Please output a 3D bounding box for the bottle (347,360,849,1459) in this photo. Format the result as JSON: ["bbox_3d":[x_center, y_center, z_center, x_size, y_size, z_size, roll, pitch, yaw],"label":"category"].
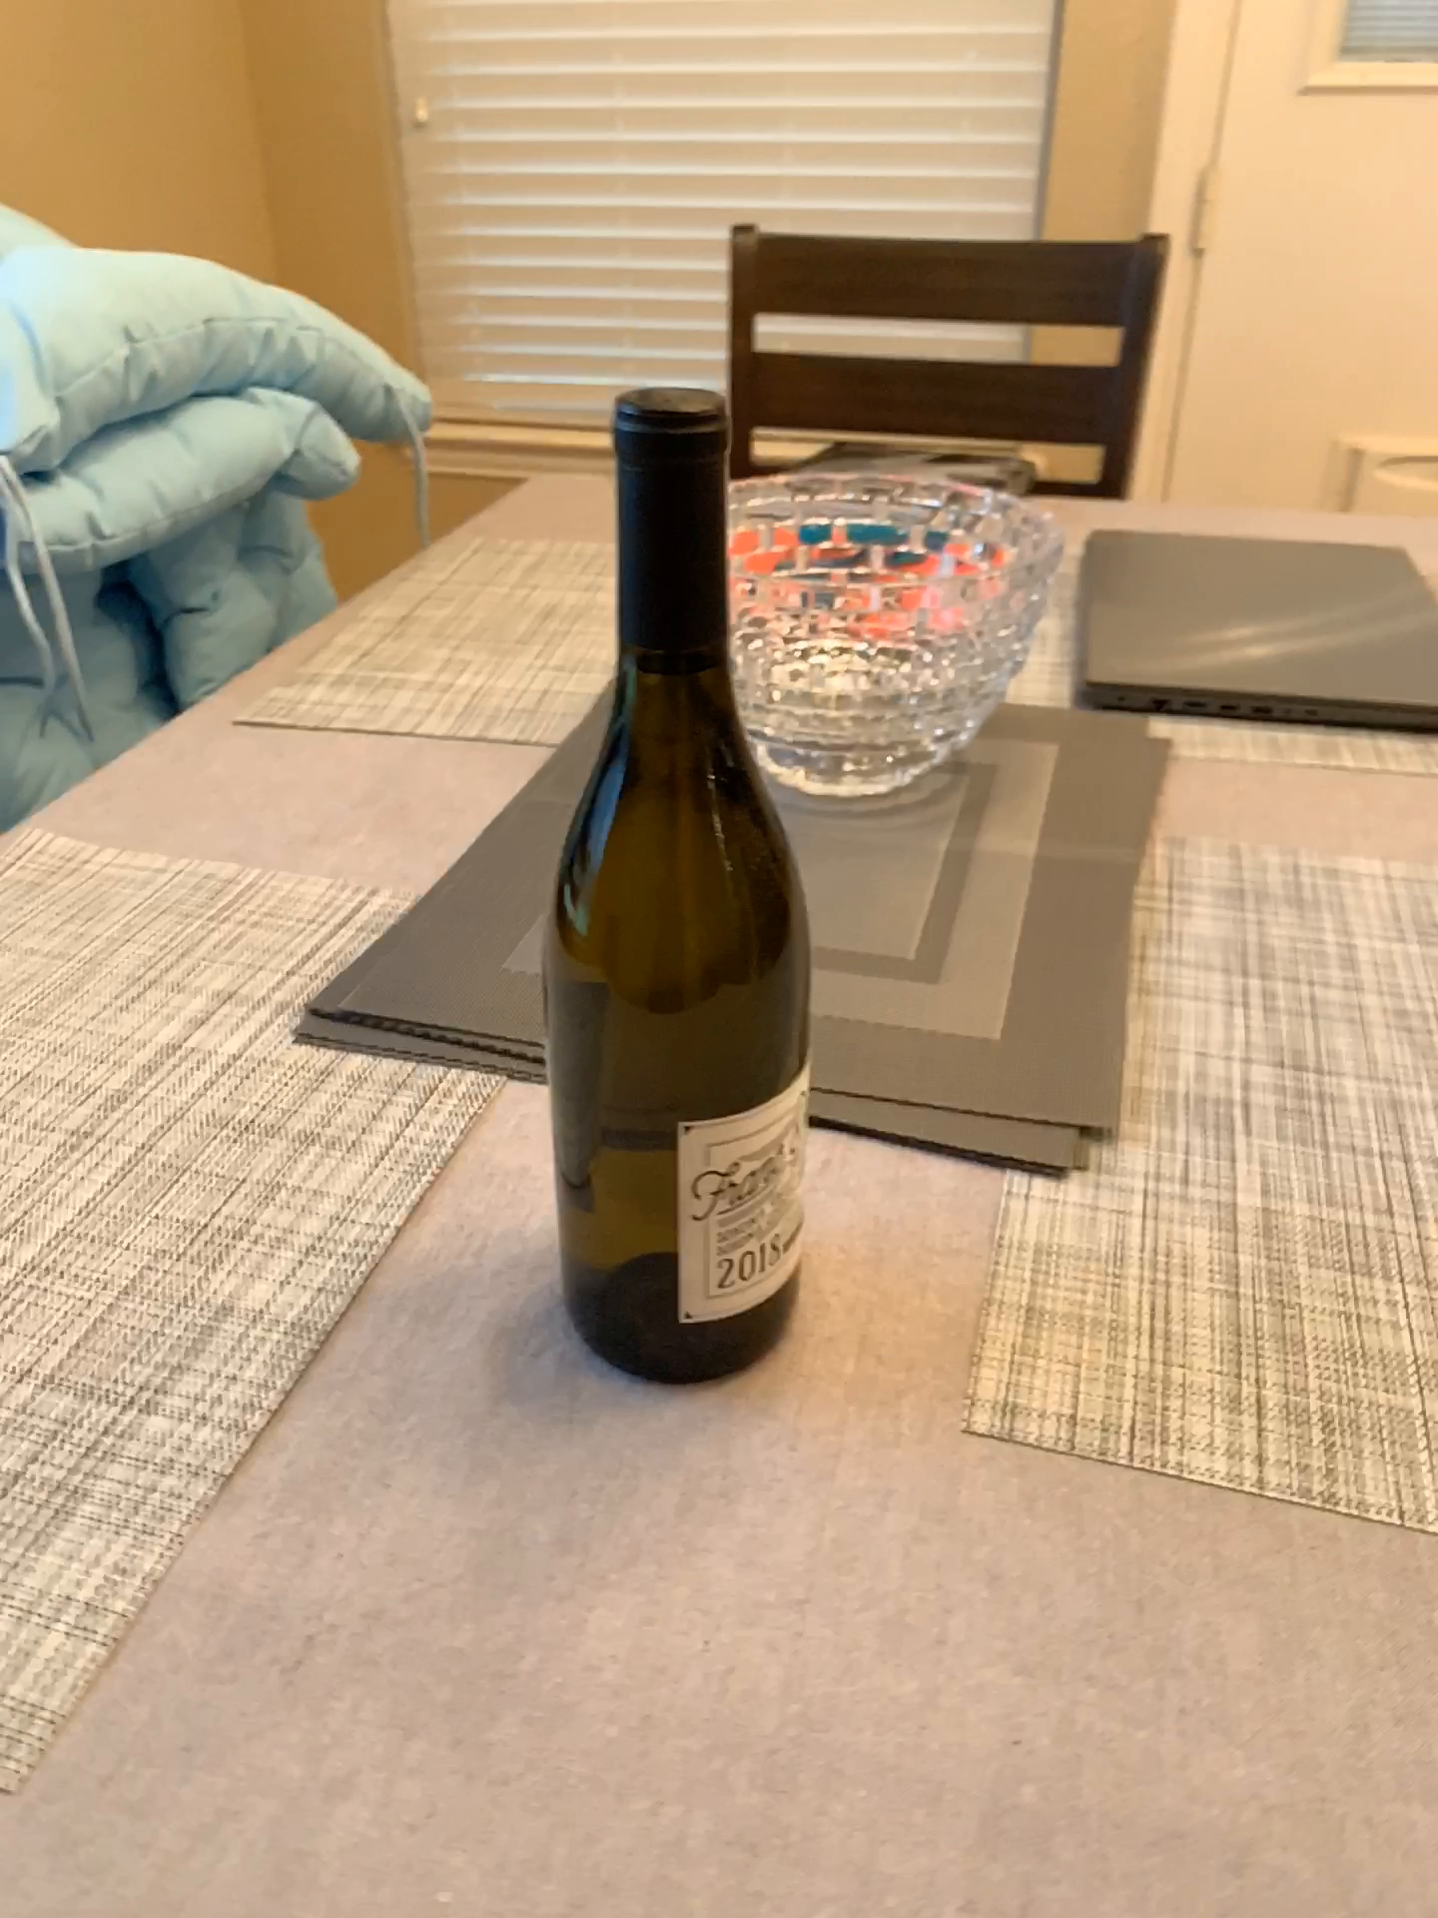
[{"bbox_3d":[-0.025,-0.006,0.418,0.080,0.288,0.090,17,34,26],"label":"bottle"}]
